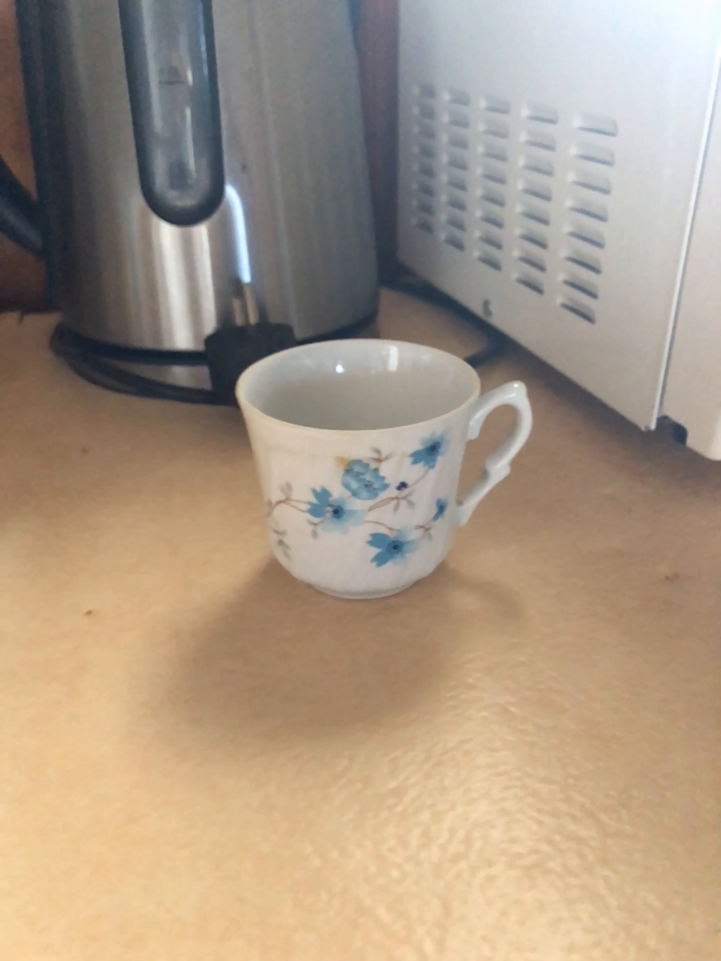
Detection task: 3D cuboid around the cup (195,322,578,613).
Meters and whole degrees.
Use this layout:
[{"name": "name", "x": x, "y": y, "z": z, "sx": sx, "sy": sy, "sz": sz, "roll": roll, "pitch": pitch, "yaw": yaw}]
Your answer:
[{"name": "cup", "x": 0.003, "y": -0.008, "z": 0.231, "sx": 0.090, "sy": 0.050, "sz": 0.070, "roll": -4, "pitch": 29, "yaw": -6}]
